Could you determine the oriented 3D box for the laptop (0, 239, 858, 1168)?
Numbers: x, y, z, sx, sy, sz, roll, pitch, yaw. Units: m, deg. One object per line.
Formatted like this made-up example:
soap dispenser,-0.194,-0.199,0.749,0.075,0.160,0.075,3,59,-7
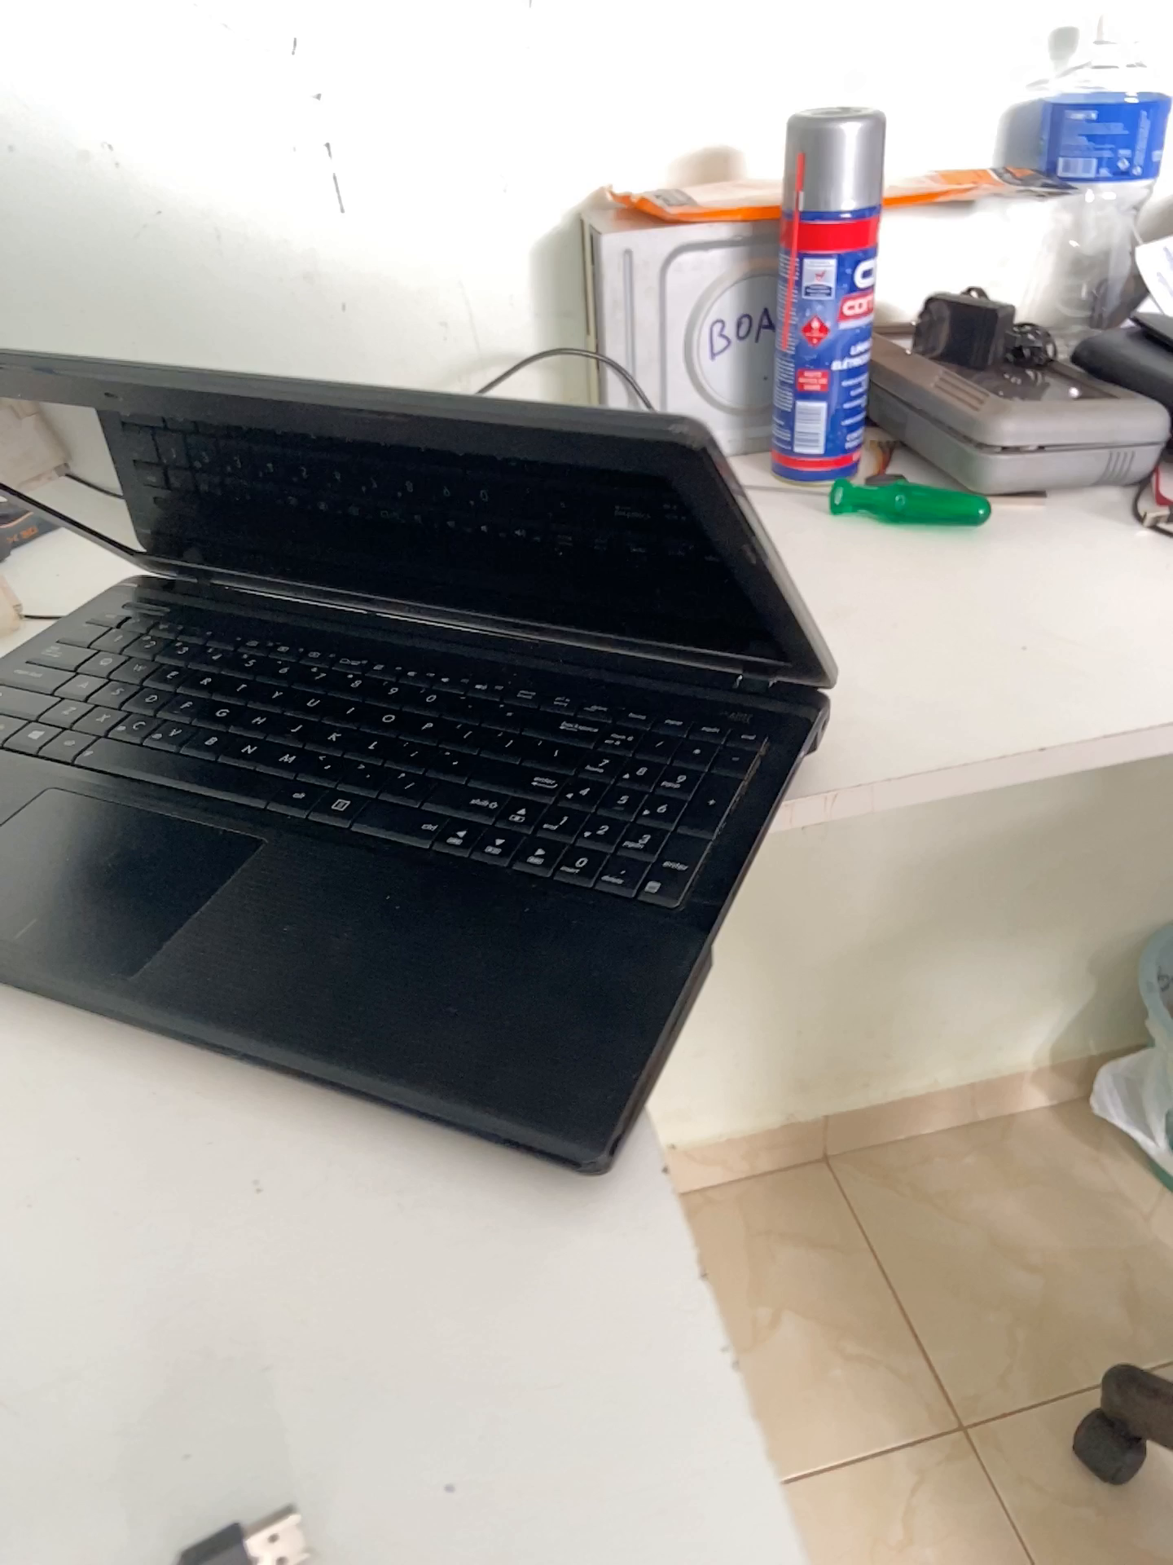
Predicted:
laptop,-0.125,-0.071,0.440,0.376,0.165,0.248,12,39,21
